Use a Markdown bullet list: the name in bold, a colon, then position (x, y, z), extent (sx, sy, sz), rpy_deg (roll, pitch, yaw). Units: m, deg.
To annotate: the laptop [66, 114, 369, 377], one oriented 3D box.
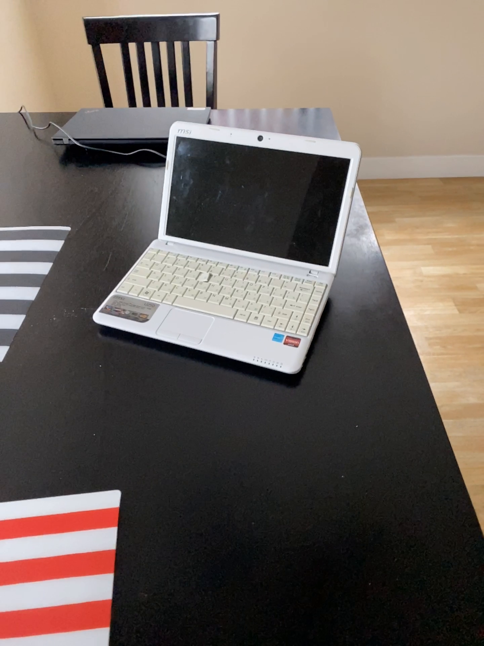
- **laptop**: position (-0.012, -0.129, 0.675), extent (0.294, 0.153, 0.302), rpy_deg (13, 47, 16)
